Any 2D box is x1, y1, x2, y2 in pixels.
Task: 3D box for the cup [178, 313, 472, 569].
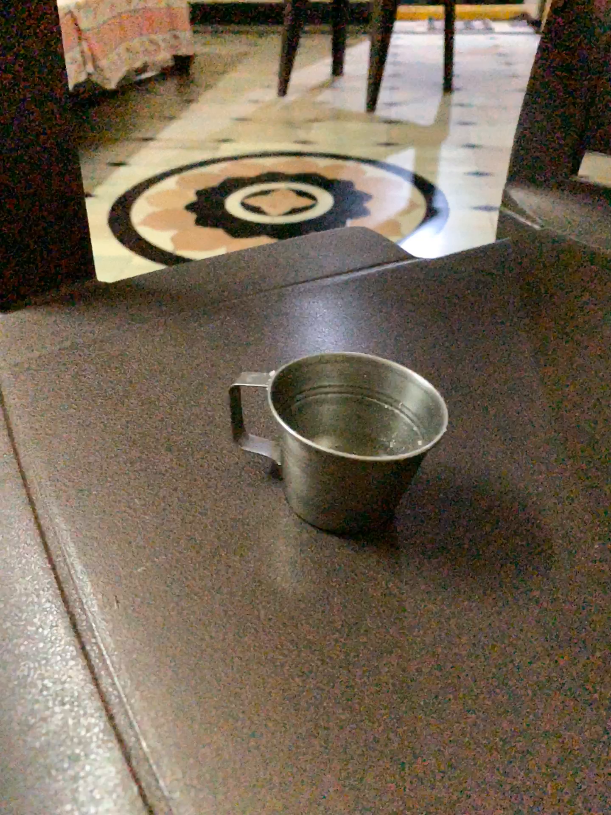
[{"bbox_3d":[0.009,0.008,0.215,0.080,0.040,0.060,14,40,13],"label":"cup"}]
